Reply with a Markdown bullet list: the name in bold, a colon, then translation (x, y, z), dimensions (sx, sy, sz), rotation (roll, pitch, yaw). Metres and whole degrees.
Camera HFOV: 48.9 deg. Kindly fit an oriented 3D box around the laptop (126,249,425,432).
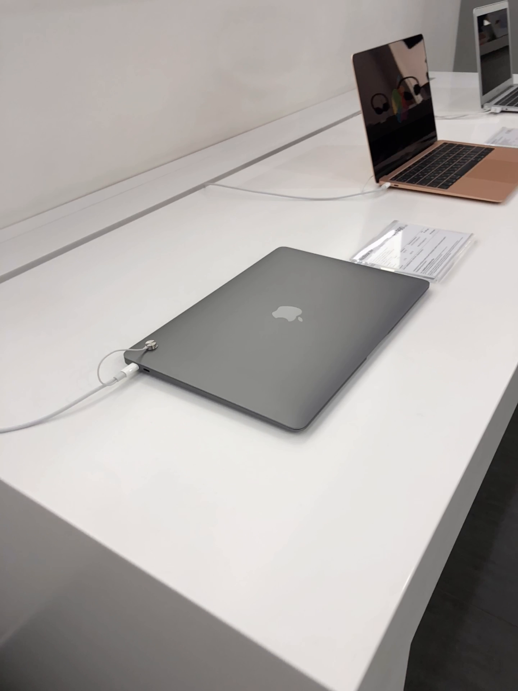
- **laptop**: translation (0.031, -0.029, 0.633), dimensions (0.204, 0.006, 0.293), rotation (20, 40, 29)
